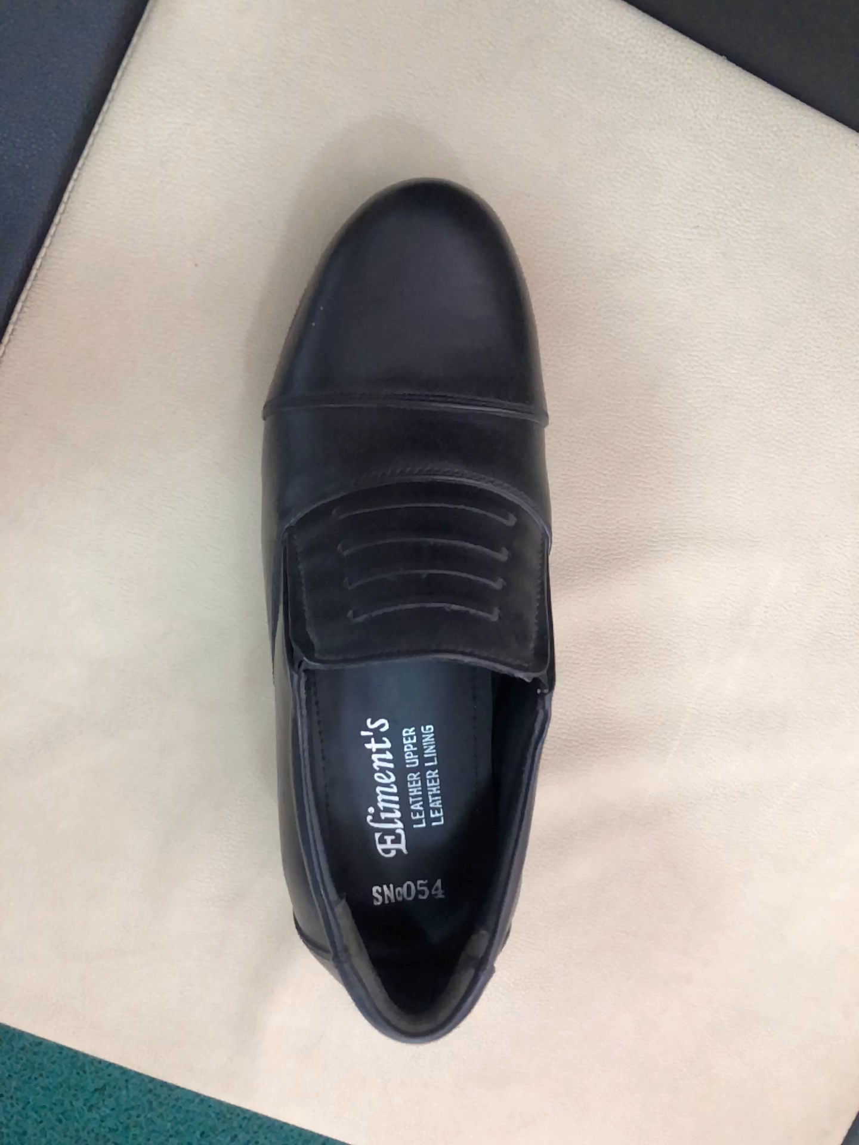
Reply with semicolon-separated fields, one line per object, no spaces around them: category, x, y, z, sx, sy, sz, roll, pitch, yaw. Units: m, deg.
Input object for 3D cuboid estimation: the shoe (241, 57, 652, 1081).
shoe;0.001;0.000;0.311;0.100;0.120;0.270;-1;99;-4
